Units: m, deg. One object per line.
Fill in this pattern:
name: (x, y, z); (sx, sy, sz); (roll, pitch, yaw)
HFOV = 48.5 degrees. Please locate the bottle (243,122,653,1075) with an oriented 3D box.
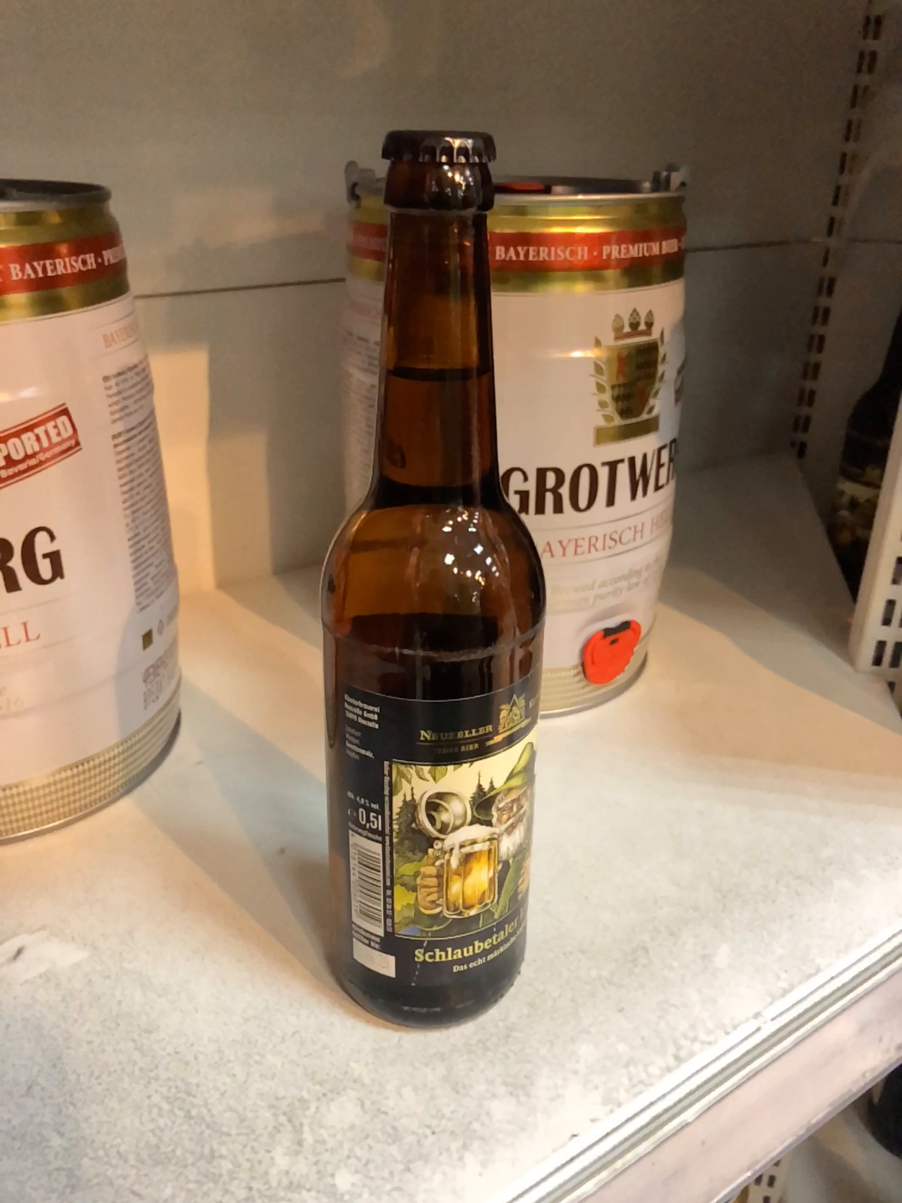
bottle: (-0.003, 0.006, 0.287); (0.071, 0.257, 0.064); (-17, 31, -33)
